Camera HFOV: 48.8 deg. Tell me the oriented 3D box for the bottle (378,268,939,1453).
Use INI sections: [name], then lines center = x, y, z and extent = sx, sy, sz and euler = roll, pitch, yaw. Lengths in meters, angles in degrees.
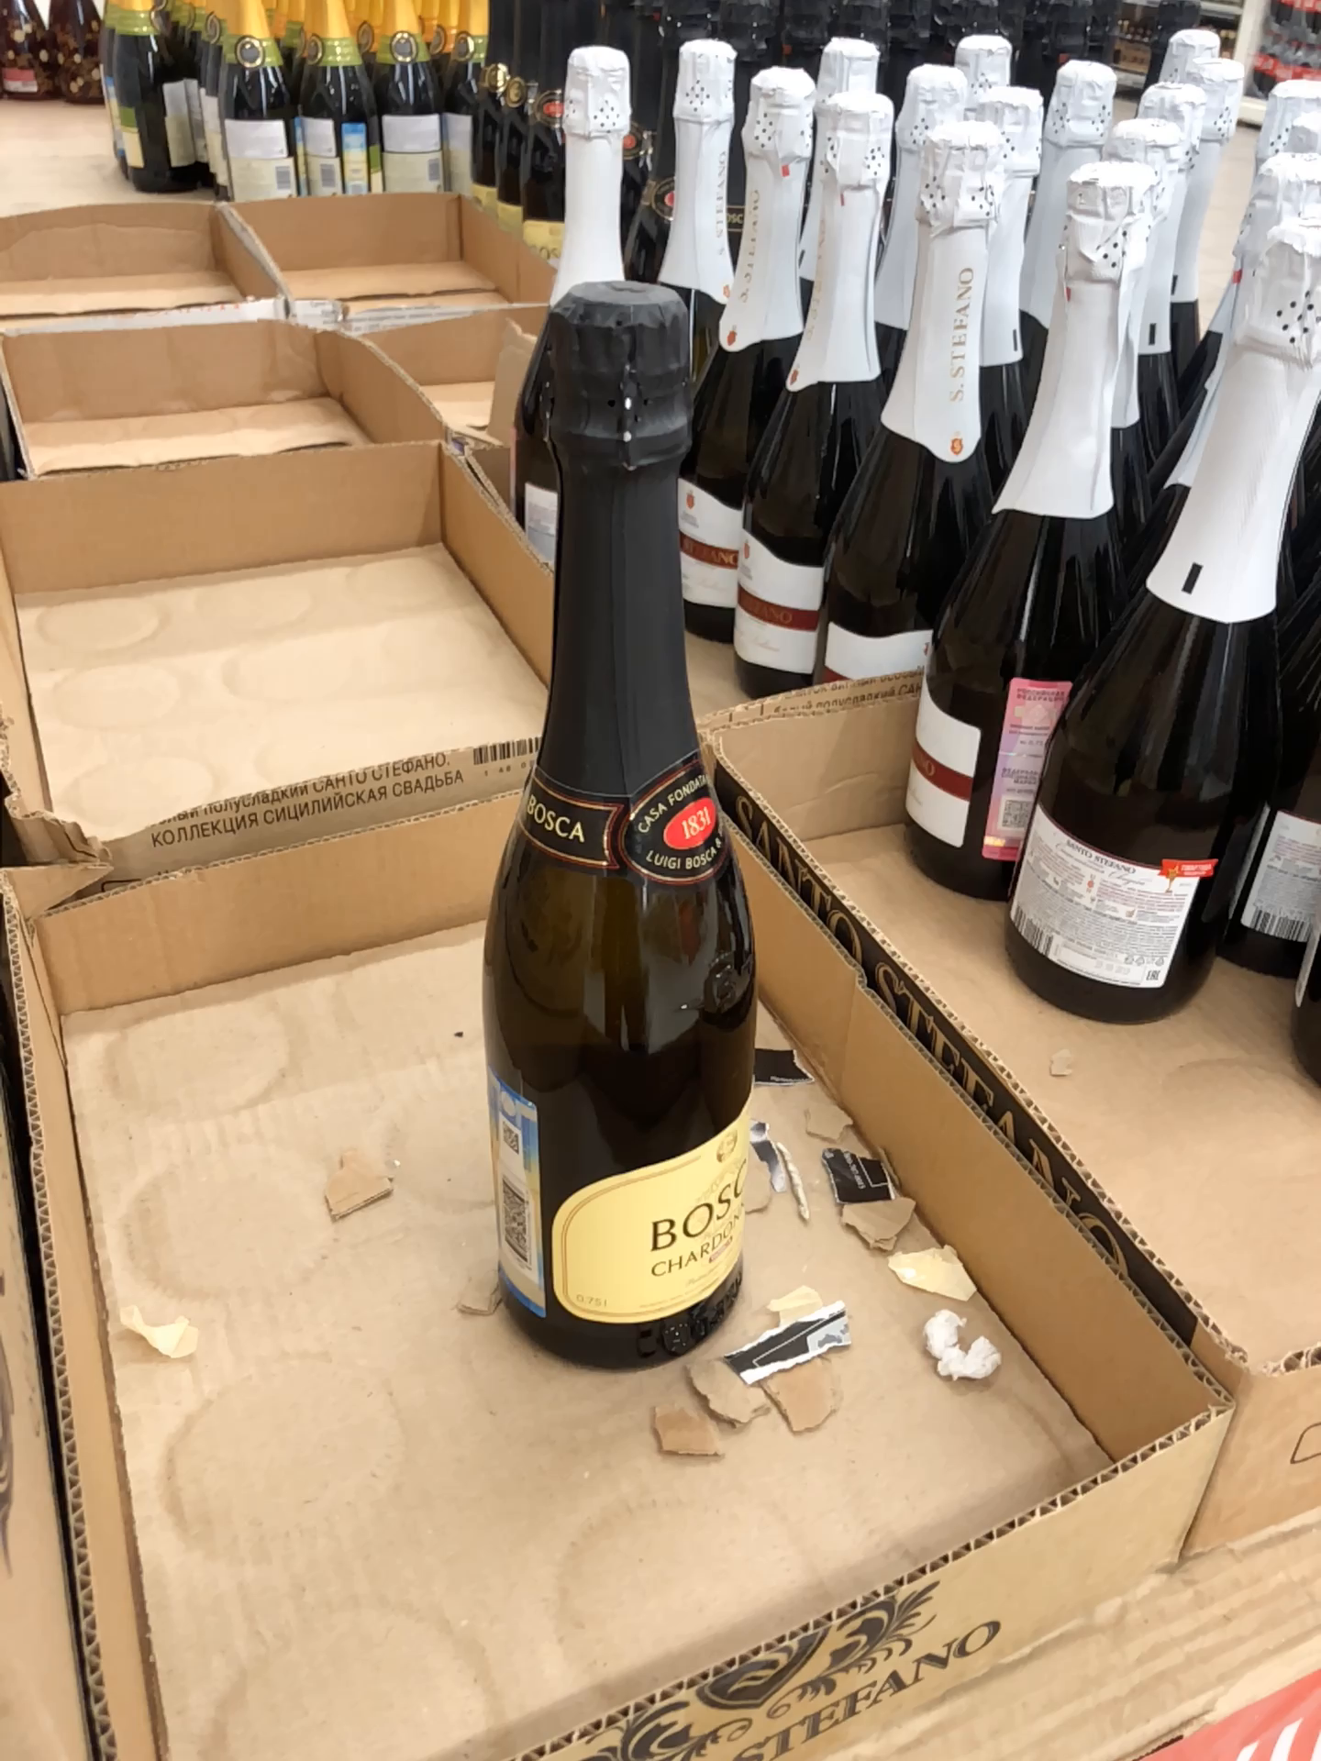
[bottle]
center = -0.004, 0.010, 0.397
extent = 0.080, 0.308, 0.090
euler = 28, 42, 32
